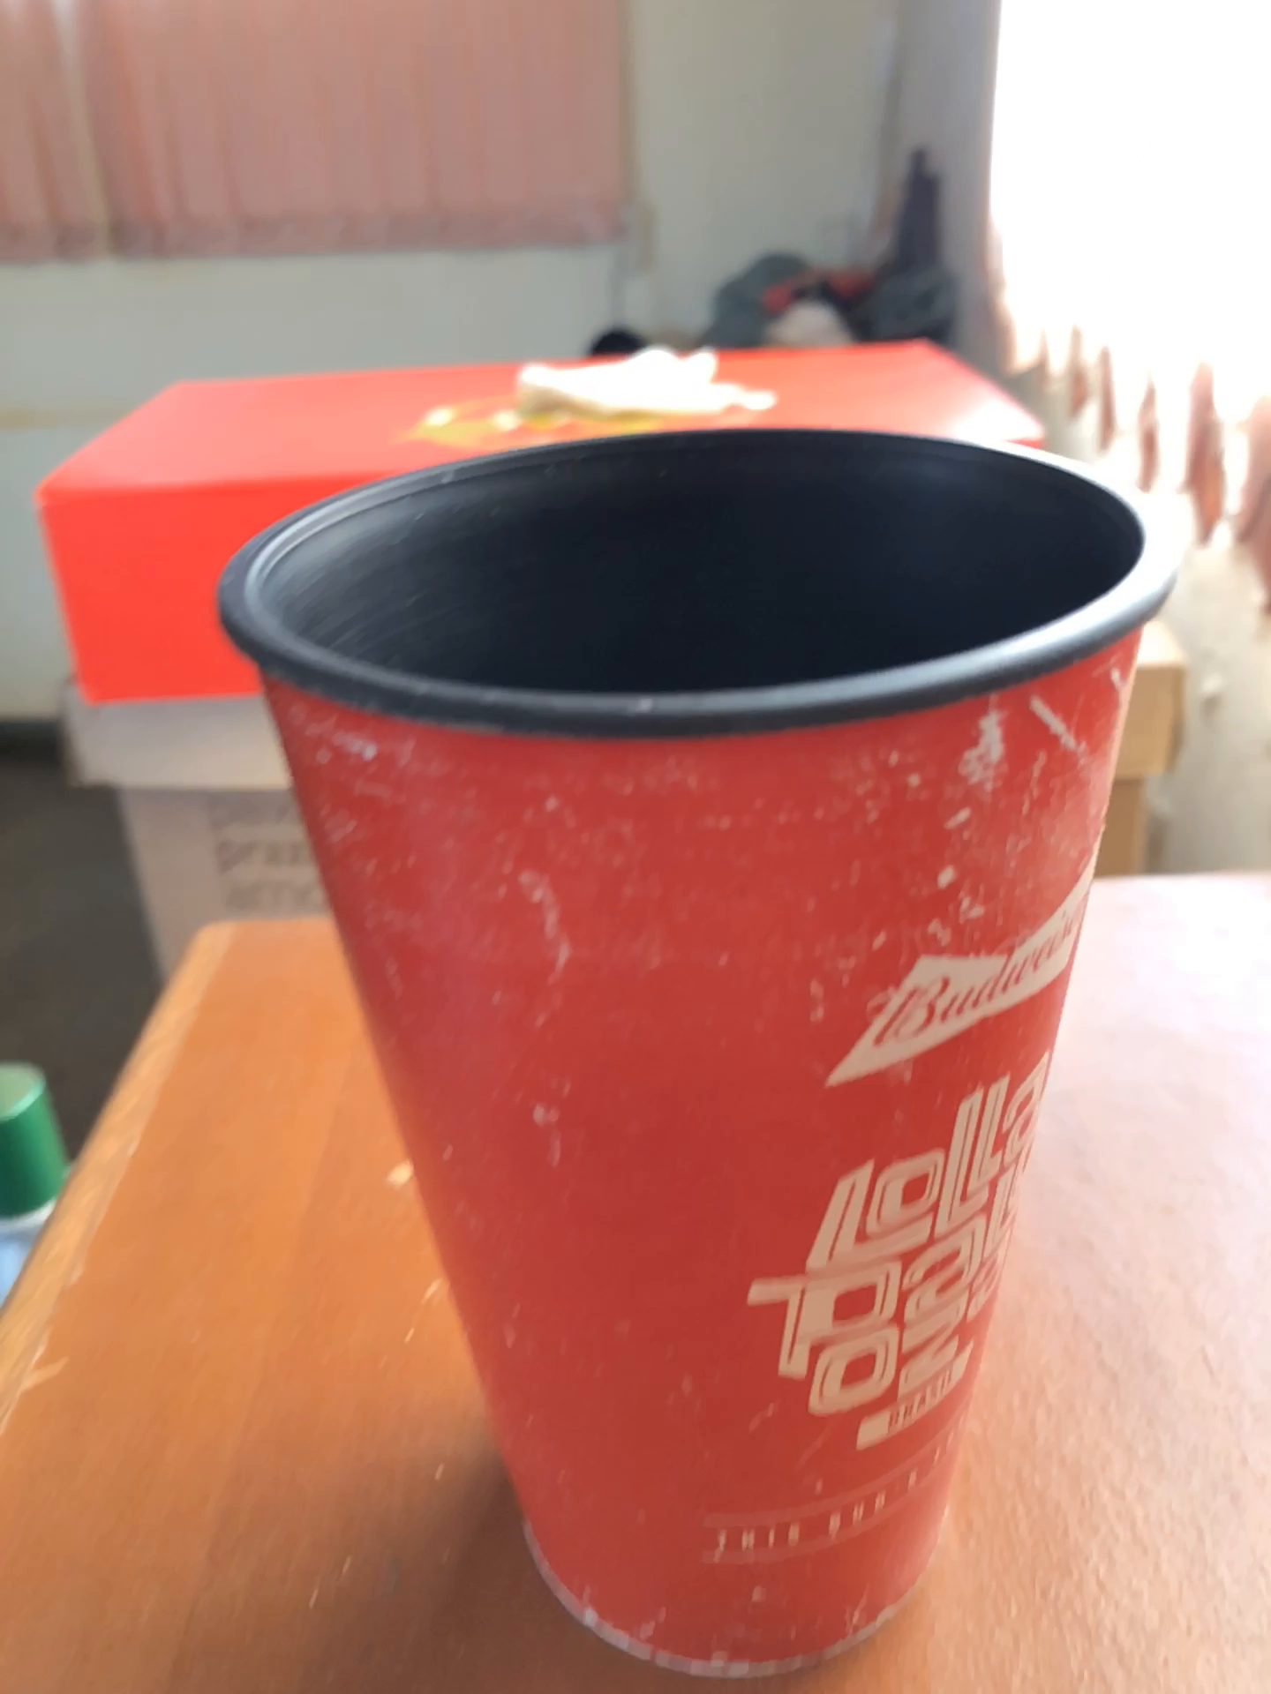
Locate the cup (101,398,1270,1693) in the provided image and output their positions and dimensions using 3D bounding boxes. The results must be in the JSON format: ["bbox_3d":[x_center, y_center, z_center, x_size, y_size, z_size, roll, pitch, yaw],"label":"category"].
[{"bbox_3d":[0.011,0.028,0.177,0.100,0.139,0.090,-19,30,-30],"label":"cup"}]
